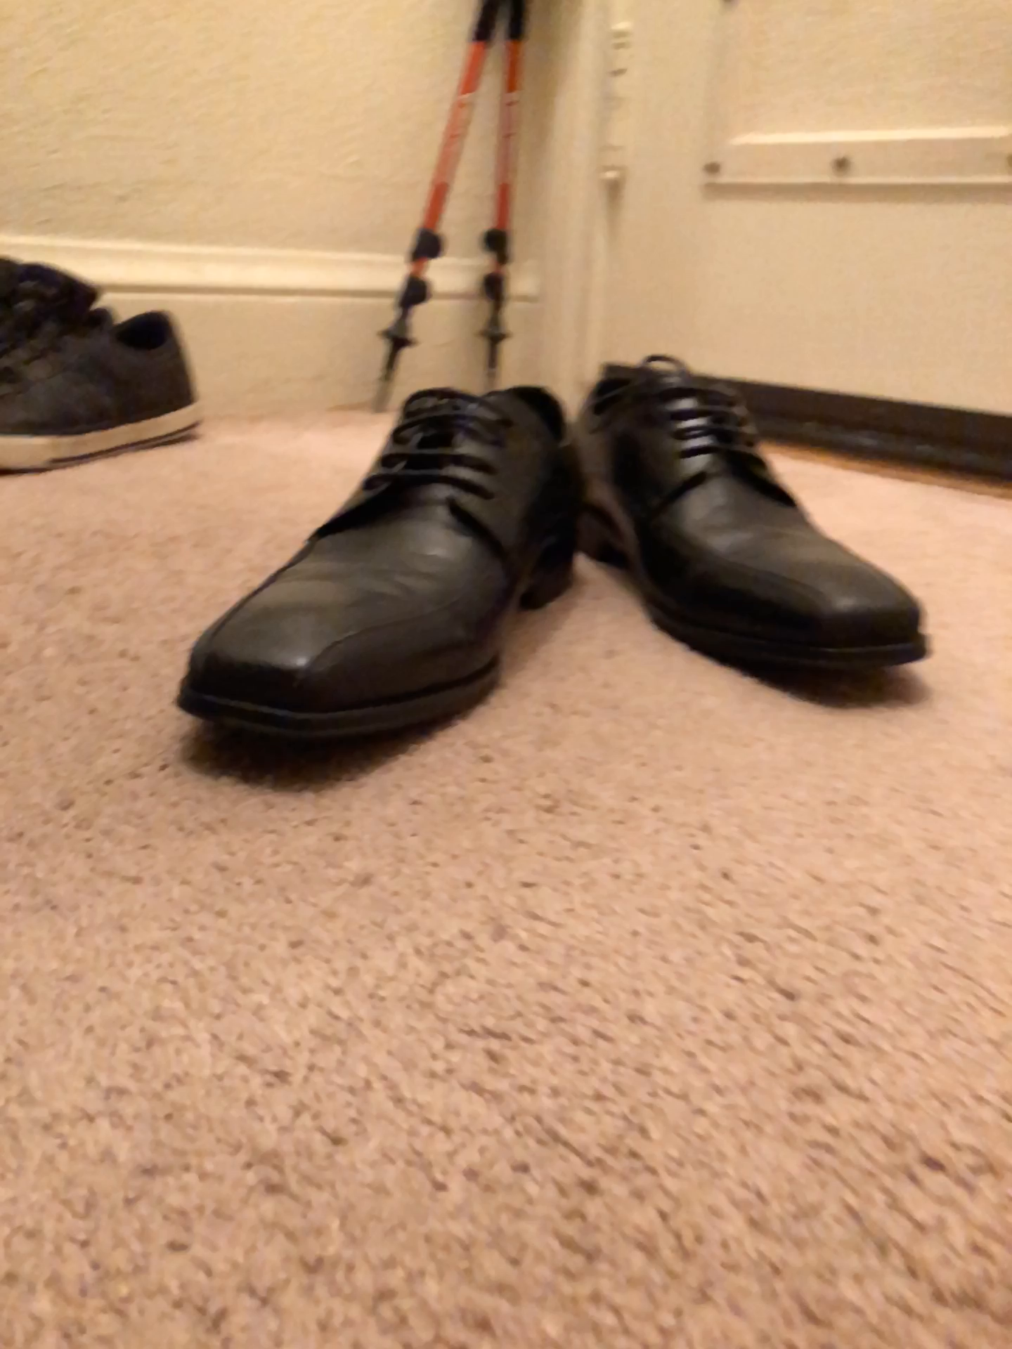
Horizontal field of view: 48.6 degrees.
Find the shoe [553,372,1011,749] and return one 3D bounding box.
[{"bbox_3d":[0.129,-0.078,0.569,0.115,0.110,0.298,-3,22,-16],"label":"shoe"}]

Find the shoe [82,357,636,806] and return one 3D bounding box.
[{"bbox_3d":[-0.035,-0.064,0.472,0.110,0.107,0.284,10,22,16],"label":"shoe"}]
